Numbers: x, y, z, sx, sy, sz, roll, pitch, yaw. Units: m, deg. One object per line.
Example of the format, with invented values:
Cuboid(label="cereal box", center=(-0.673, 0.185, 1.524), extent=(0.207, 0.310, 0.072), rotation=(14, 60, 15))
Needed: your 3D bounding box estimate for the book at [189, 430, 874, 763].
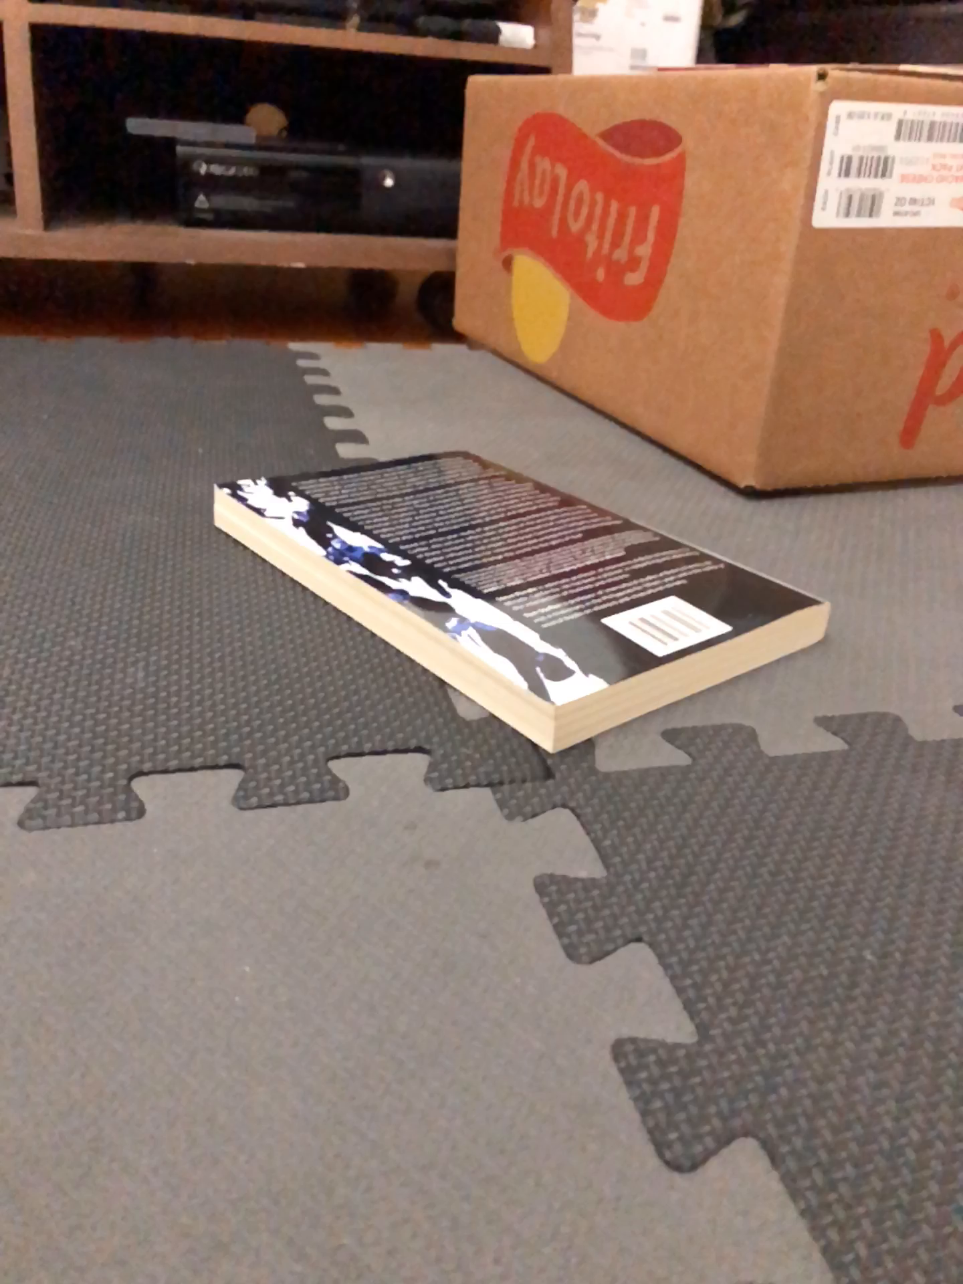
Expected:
Cuboid(label="book", center=(0.008, -0.036, 0.416), extent=(0.150, 0.020, 0.231), rotation=(-18, 33, -37))

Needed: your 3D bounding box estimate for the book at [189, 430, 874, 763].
Cuboid(label="book", center=(0.008, -0.036, 0.416), extent=(0.150, 0.020, 0.231), rotation=(-18, 33, -37))
